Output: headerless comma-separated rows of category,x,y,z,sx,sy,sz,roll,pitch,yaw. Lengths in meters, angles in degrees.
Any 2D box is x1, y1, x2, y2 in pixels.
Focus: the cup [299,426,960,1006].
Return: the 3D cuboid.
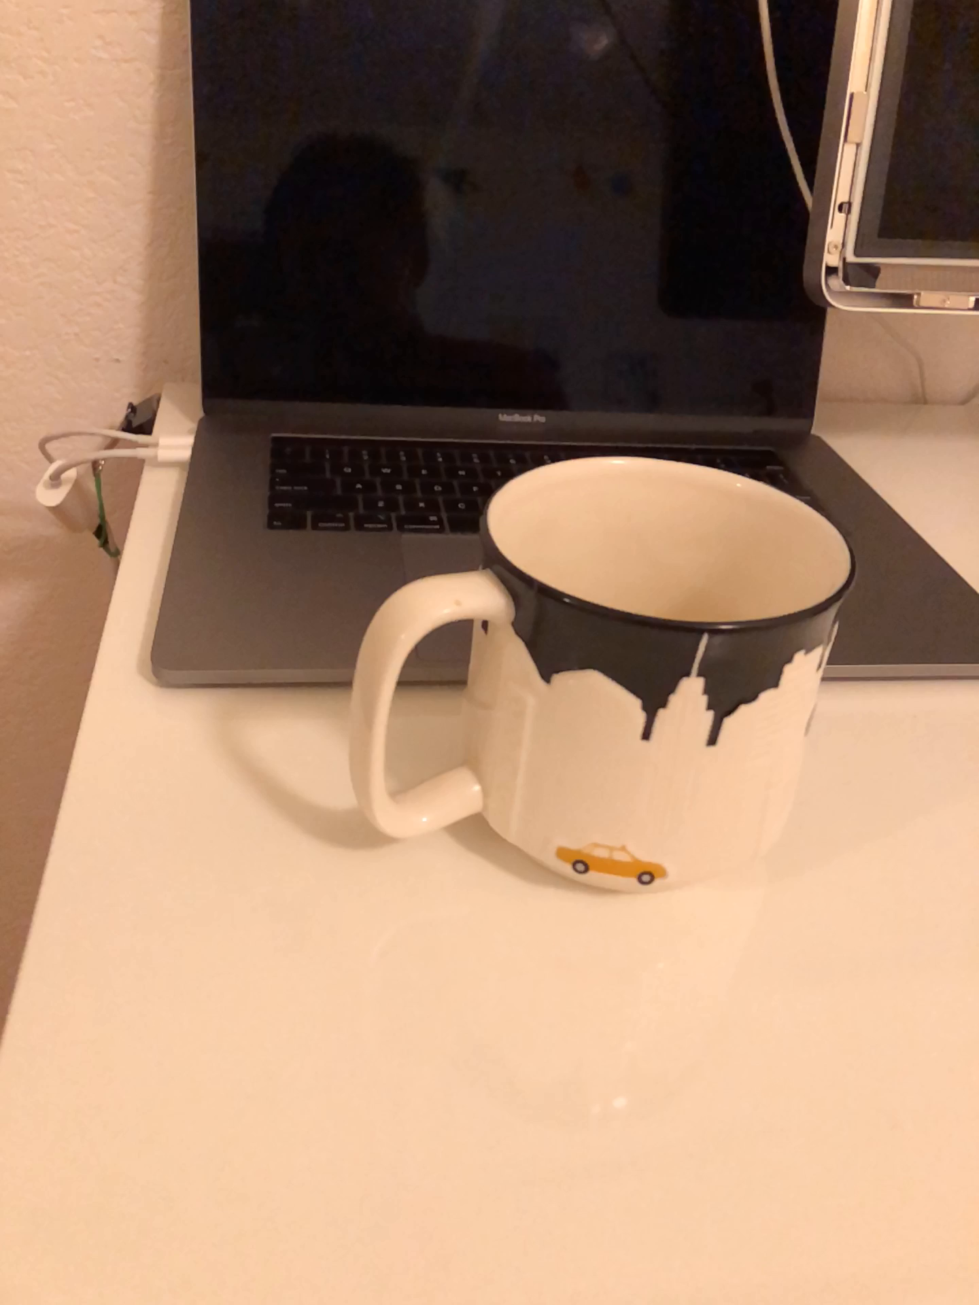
cup,0.031,0.009,0.323,0.150,0.109,0.100,-10,36,-22
